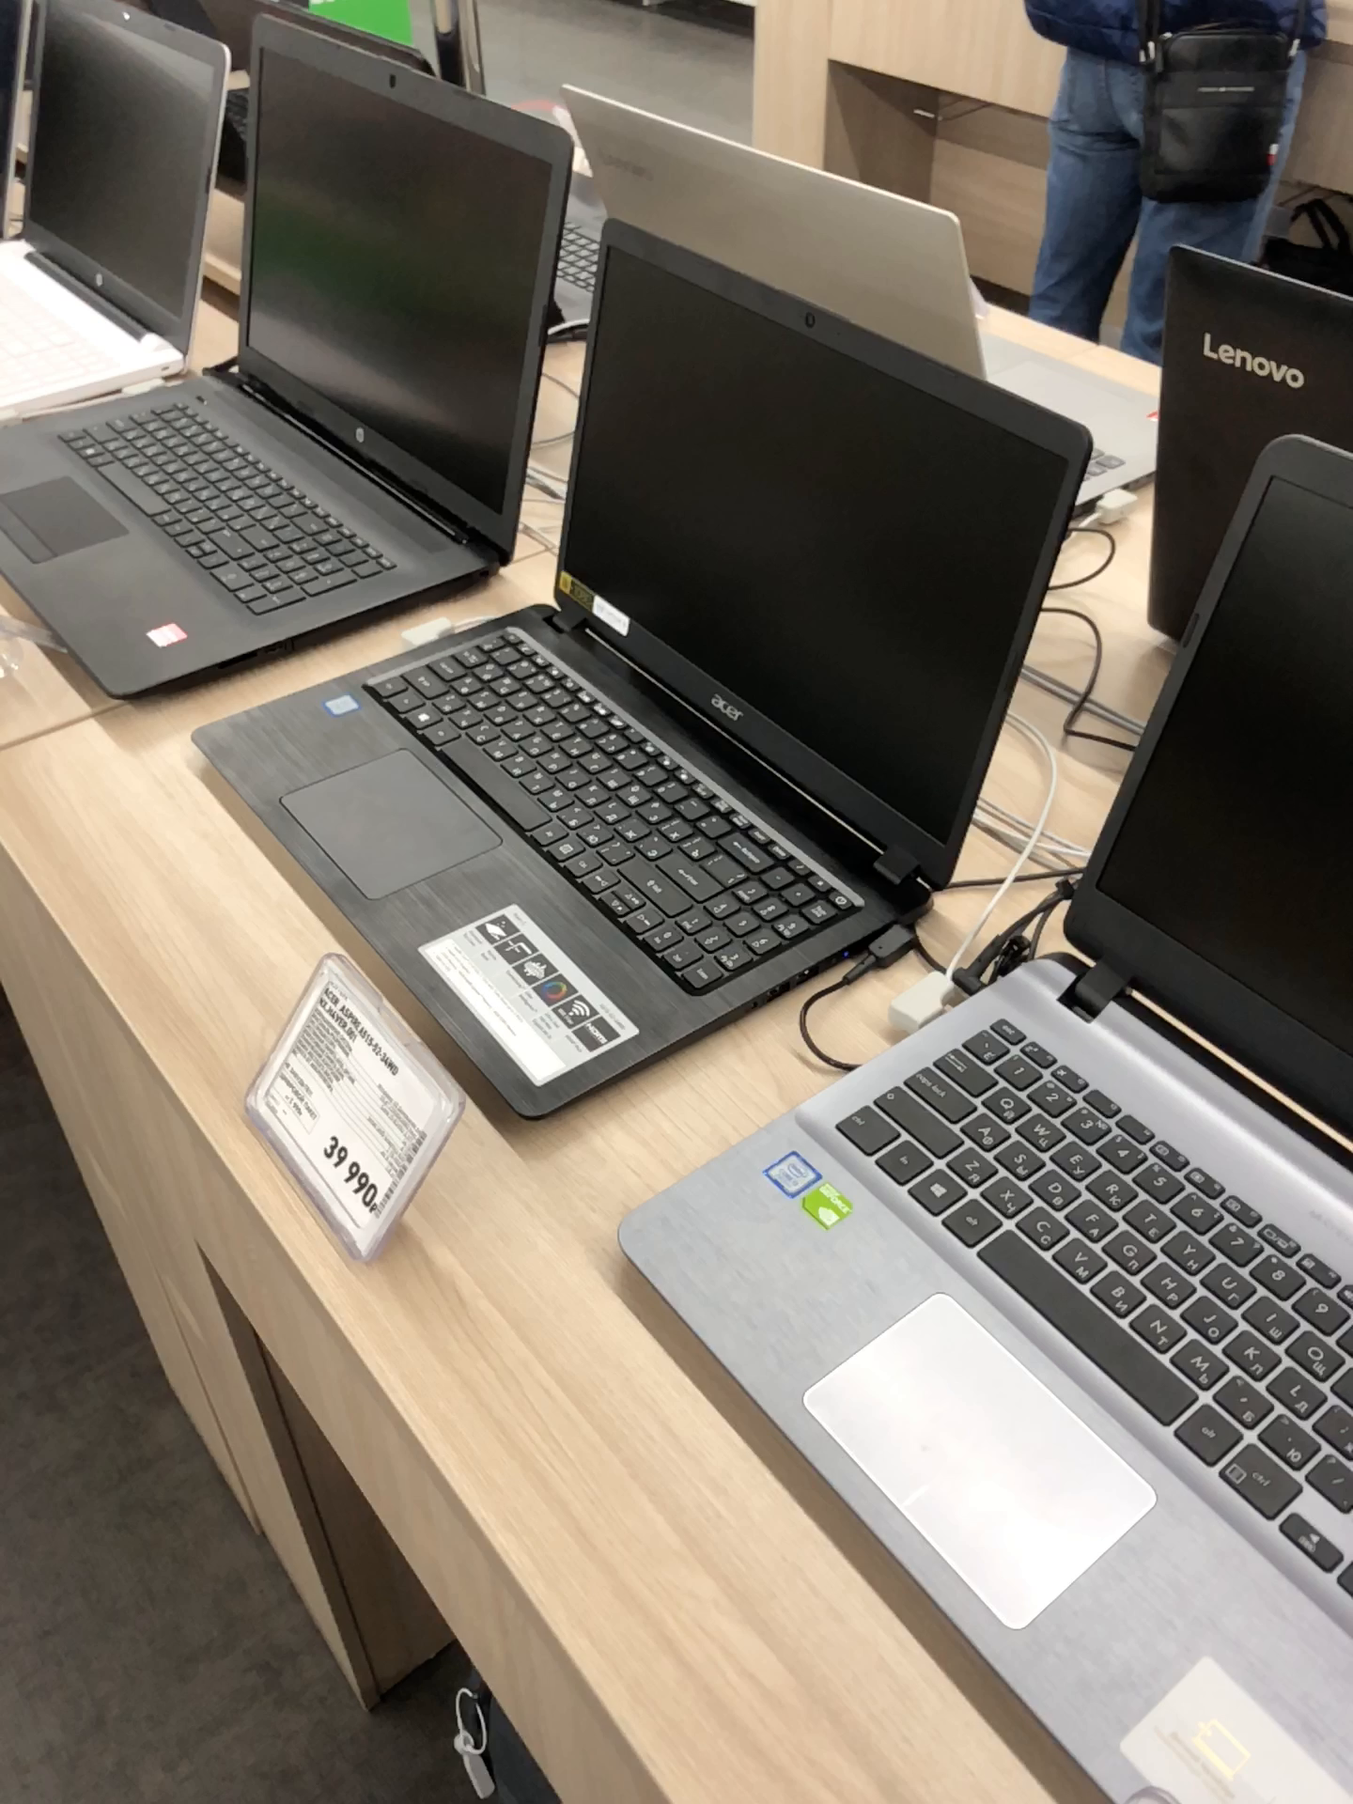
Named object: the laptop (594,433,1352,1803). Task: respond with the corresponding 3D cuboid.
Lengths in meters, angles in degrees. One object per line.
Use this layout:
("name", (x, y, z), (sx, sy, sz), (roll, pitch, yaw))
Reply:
("laptop", (0.203, 0.058, 0.466), (0.325, 0.218, 0.327), (-27, 46, -24))

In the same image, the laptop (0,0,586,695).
("laptop", (-0.304, -0.386, 0.966), (0.346, 0.226, 0.354), (-31, 52, -28))

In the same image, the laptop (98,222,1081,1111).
("laptop", (-0.051, -0.145, 0.725), (0.291, 0.219, 0.347), (-26, 47, -26))
